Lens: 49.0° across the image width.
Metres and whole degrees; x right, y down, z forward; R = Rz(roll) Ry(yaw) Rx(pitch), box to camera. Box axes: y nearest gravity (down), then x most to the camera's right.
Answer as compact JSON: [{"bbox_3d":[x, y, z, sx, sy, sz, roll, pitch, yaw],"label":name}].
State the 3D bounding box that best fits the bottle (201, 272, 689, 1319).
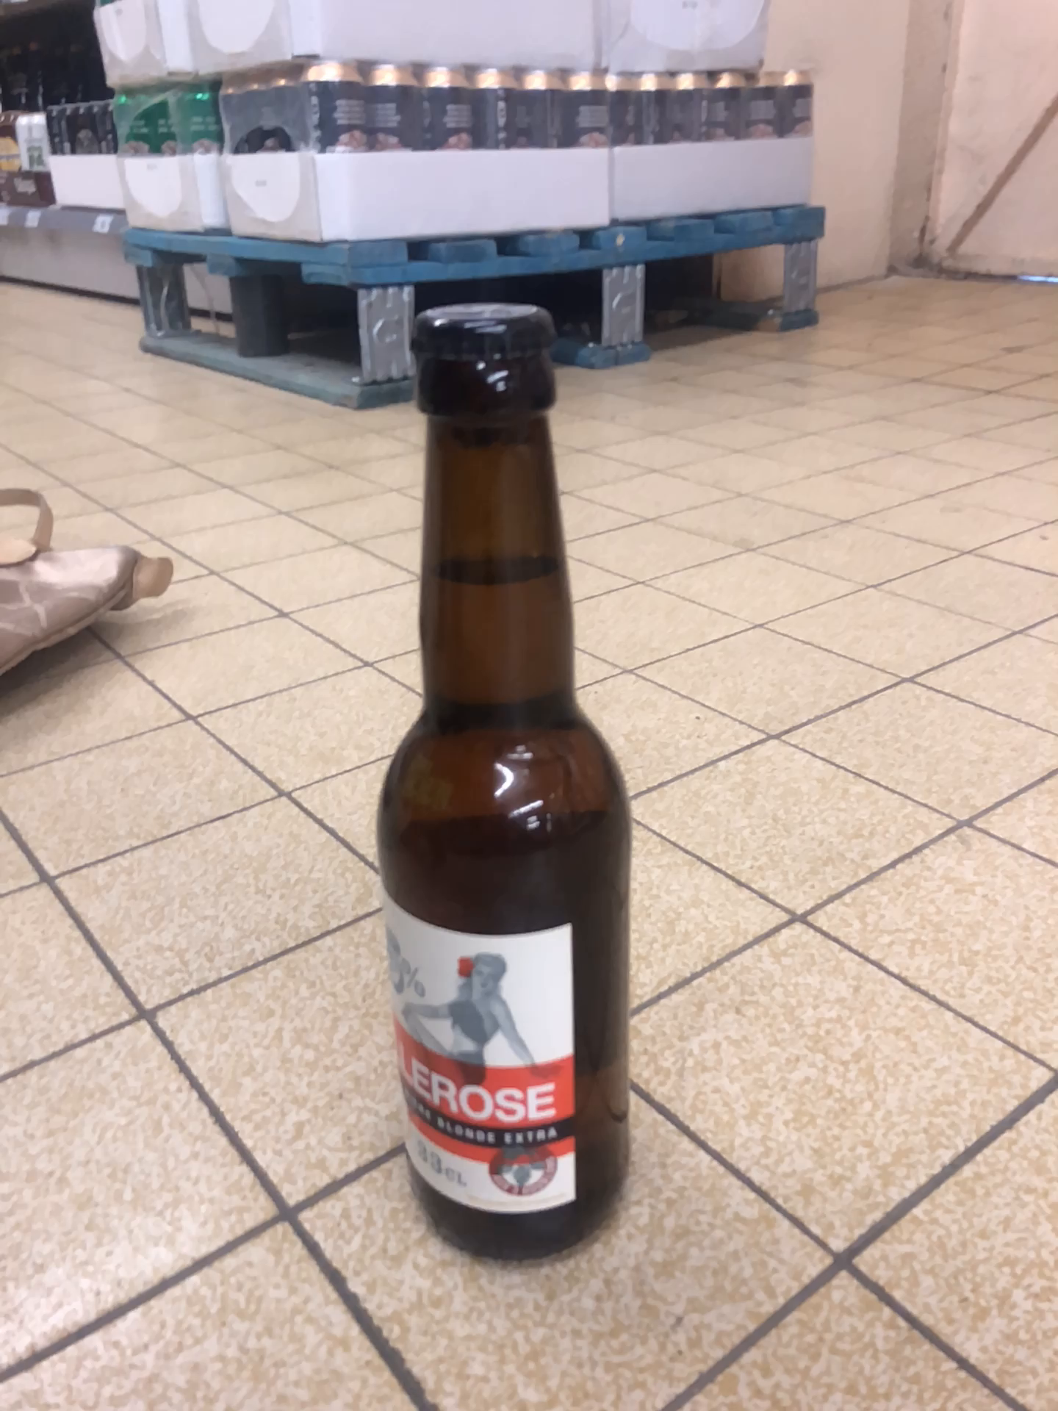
[{"bbox_3d":[-0.012,0.022,0.264,0.060,0.219,0.070,18,31,36],"label":"bottle"}]
